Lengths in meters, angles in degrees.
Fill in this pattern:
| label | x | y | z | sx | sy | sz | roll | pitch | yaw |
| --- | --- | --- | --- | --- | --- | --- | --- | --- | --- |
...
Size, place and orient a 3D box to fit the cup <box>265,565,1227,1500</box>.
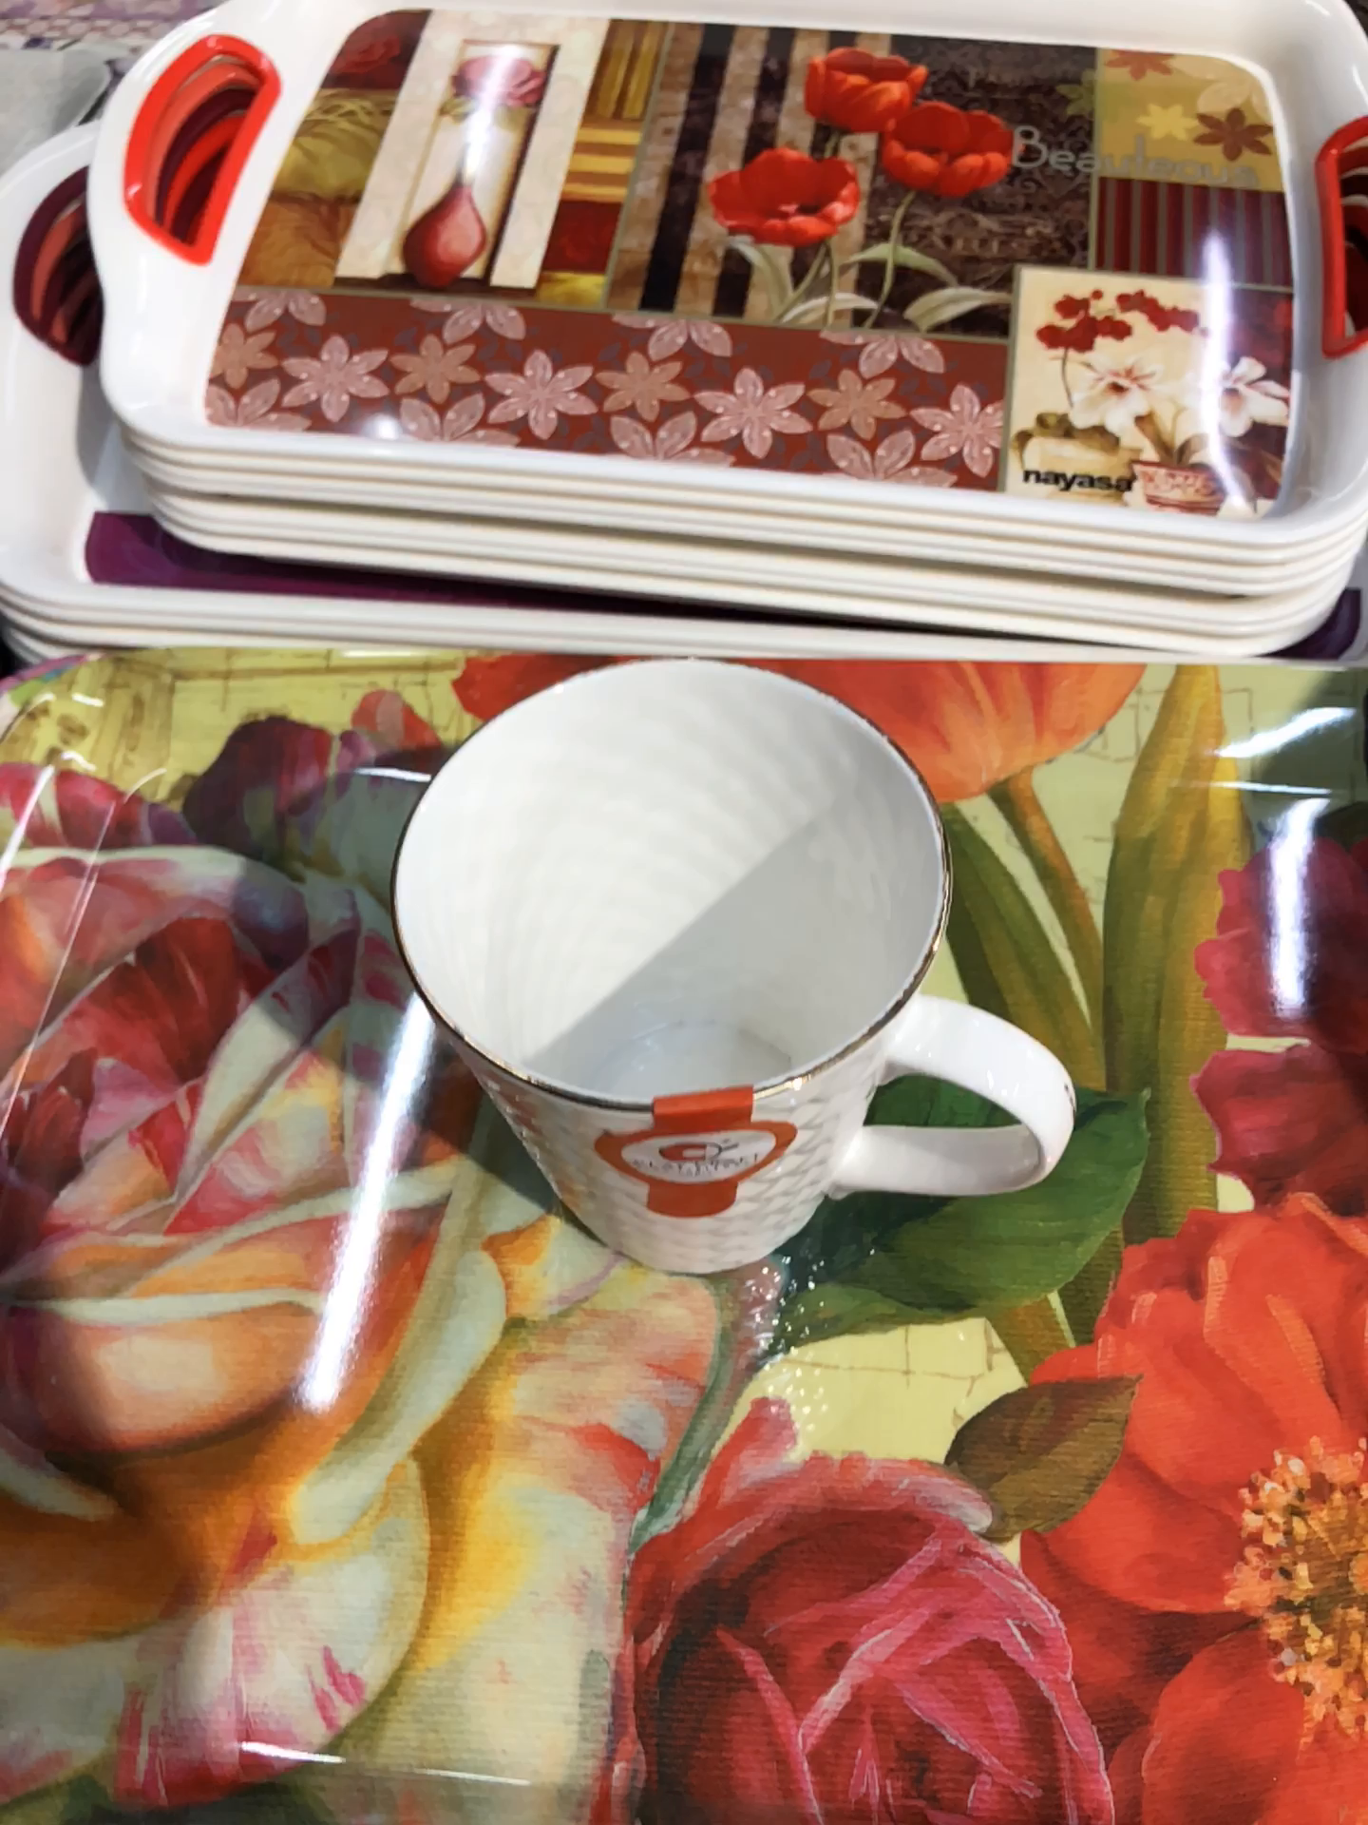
| label | x | y | z | sx | sy | sz | roll | pitch | yaw |
| --- | --- | --- | --- | --- | --- | --- | --- | --- | --- |
| cup | 0.014 | 0.019 | 0.271 | 0.120 | 0.089 | 0.101 | 19 | 55 | 14 |
